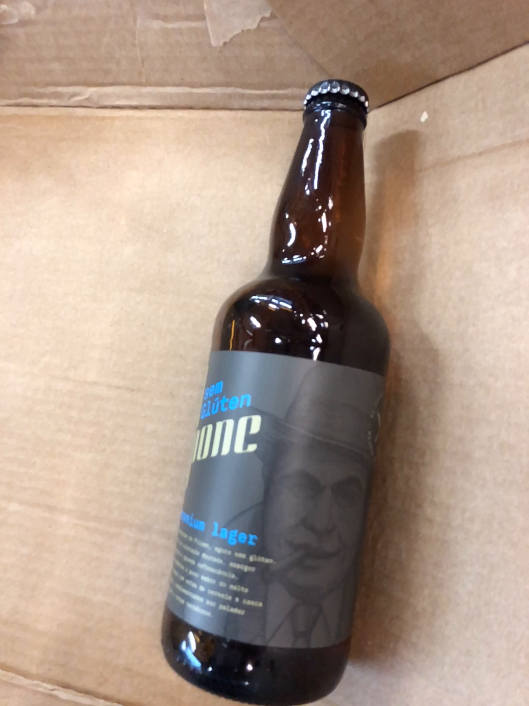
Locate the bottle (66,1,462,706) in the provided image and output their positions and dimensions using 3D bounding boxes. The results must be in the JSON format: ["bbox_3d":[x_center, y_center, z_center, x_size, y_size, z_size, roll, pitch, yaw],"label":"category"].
[{"bbox_3d":[0.005,0.009,0.216,0.080,0.060,0.240,4,79,39],"label":"bottle"}]
